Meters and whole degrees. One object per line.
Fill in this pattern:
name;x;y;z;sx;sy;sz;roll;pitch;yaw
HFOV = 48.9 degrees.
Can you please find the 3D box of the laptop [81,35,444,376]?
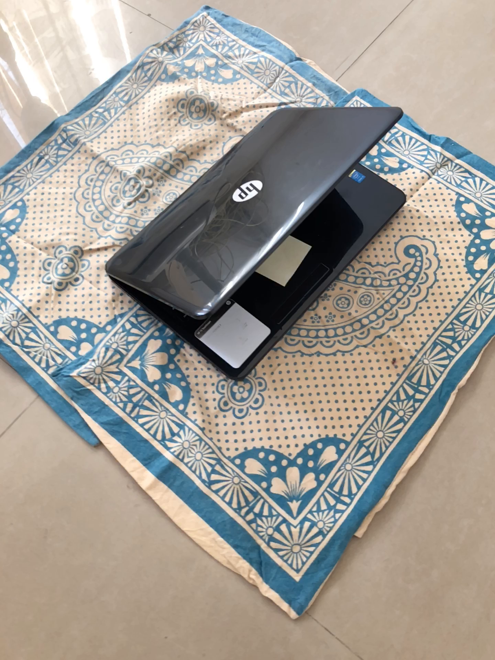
laptop;0.019;-0.166;0.704;0.236;0.151;0.364;39;75;19
